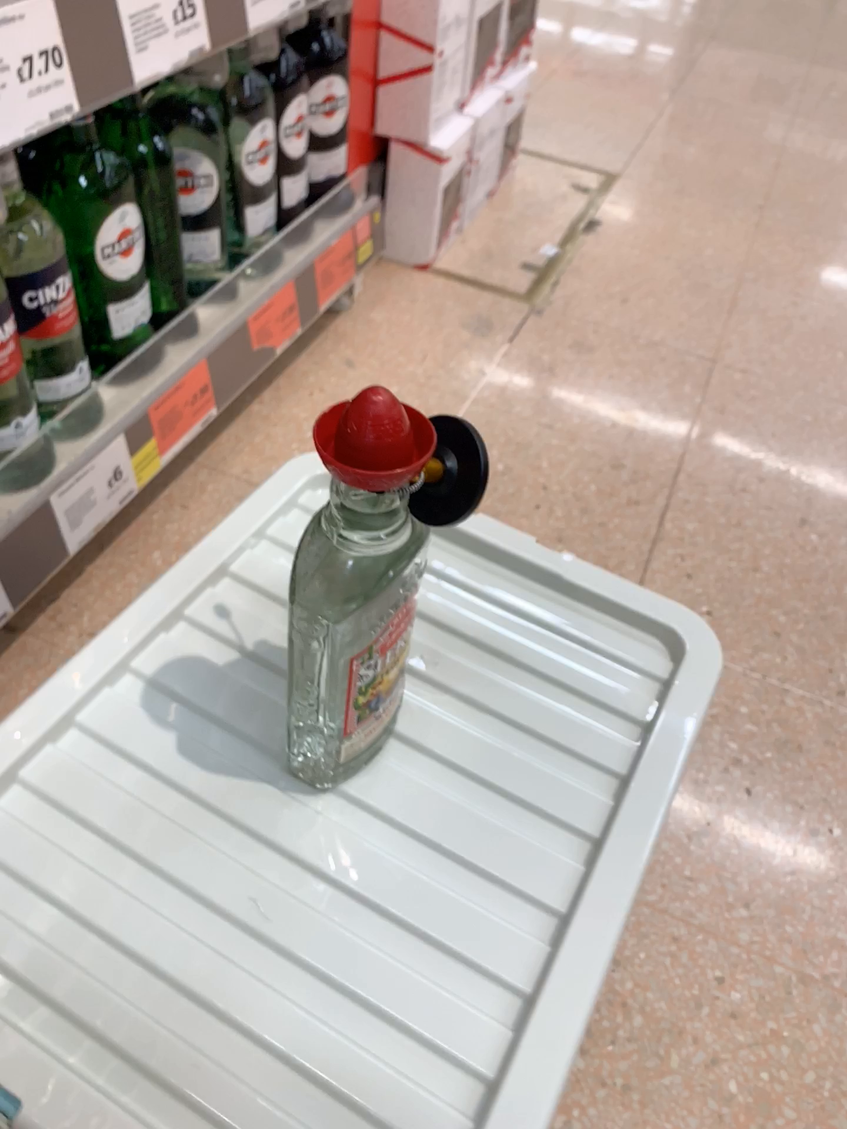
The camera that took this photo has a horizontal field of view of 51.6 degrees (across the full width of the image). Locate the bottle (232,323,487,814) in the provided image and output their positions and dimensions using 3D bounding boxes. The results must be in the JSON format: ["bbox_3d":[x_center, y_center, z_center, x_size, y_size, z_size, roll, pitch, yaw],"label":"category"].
[{"bbox_3d":[-0.036,0.015,0.446,0.058,0.240,0.104,27,49,16],"label":"bottle"}]
